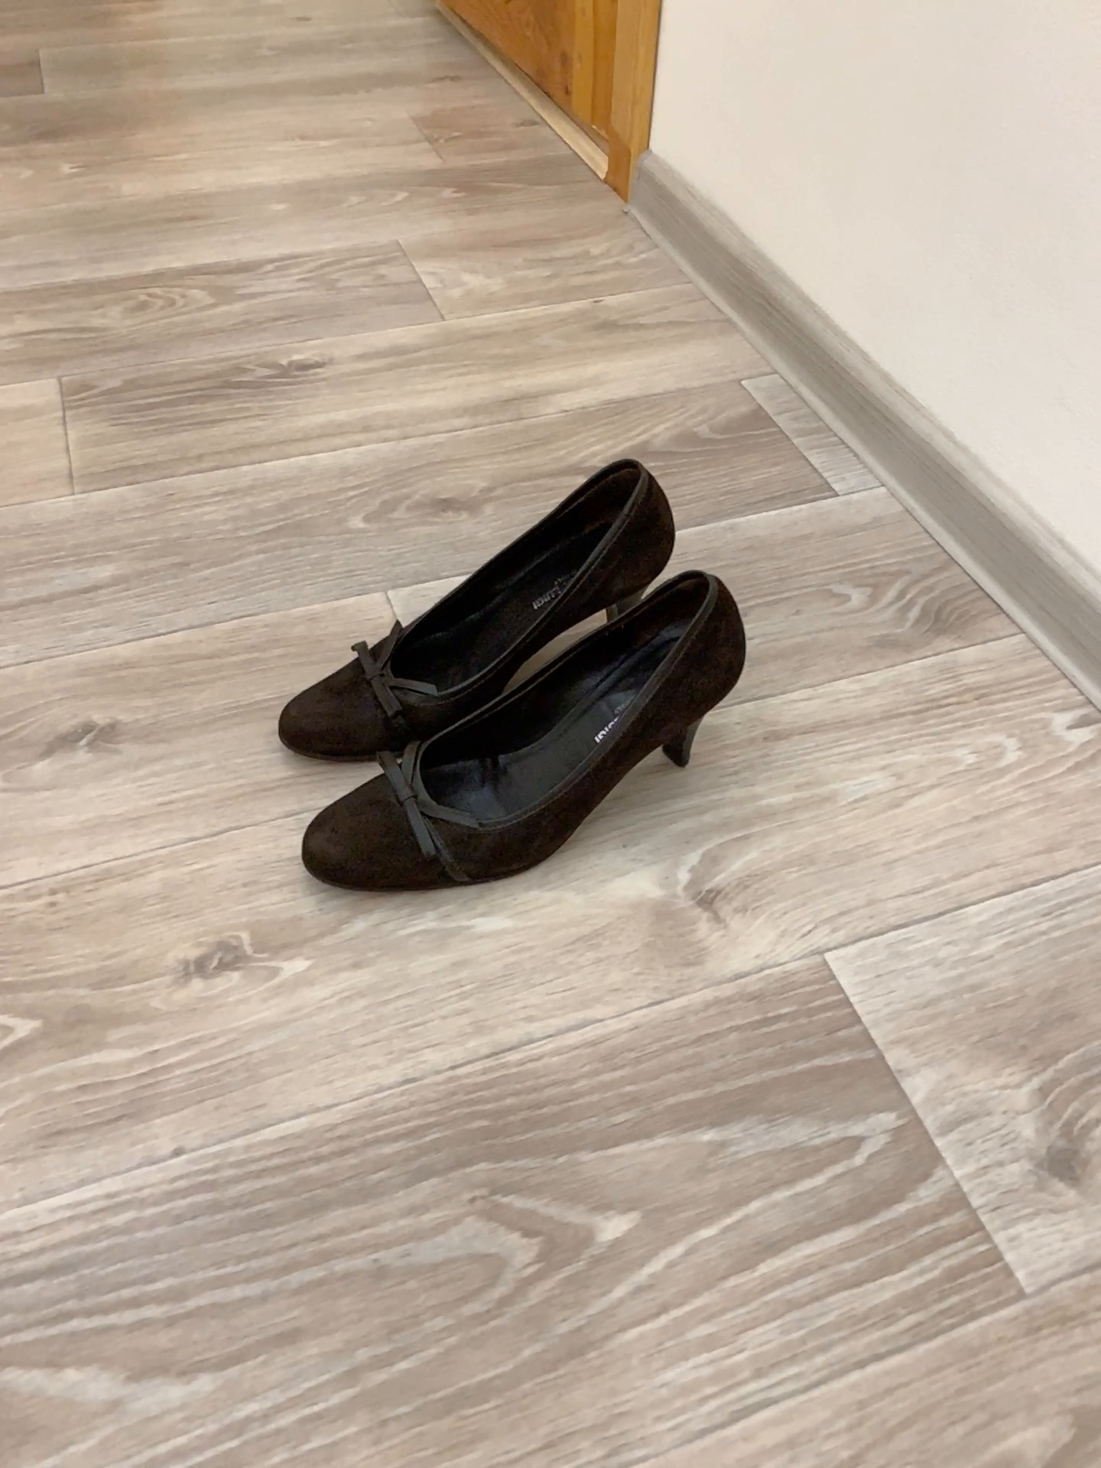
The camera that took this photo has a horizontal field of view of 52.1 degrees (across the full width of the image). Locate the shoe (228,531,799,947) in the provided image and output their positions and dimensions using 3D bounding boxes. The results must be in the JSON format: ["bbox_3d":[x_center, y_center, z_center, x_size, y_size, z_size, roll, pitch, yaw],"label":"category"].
[{"bbox_3d":[-0.014,-0.002,0.572,0.260,0.109,0.080,-20,52,-18],"label":"shoe"}]

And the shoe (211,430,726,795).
[{"bbox_3d":[-0.041,-0.072,0.633,0.260,0.109,0.080,-19,52,-18],"label":"shoe"}]
